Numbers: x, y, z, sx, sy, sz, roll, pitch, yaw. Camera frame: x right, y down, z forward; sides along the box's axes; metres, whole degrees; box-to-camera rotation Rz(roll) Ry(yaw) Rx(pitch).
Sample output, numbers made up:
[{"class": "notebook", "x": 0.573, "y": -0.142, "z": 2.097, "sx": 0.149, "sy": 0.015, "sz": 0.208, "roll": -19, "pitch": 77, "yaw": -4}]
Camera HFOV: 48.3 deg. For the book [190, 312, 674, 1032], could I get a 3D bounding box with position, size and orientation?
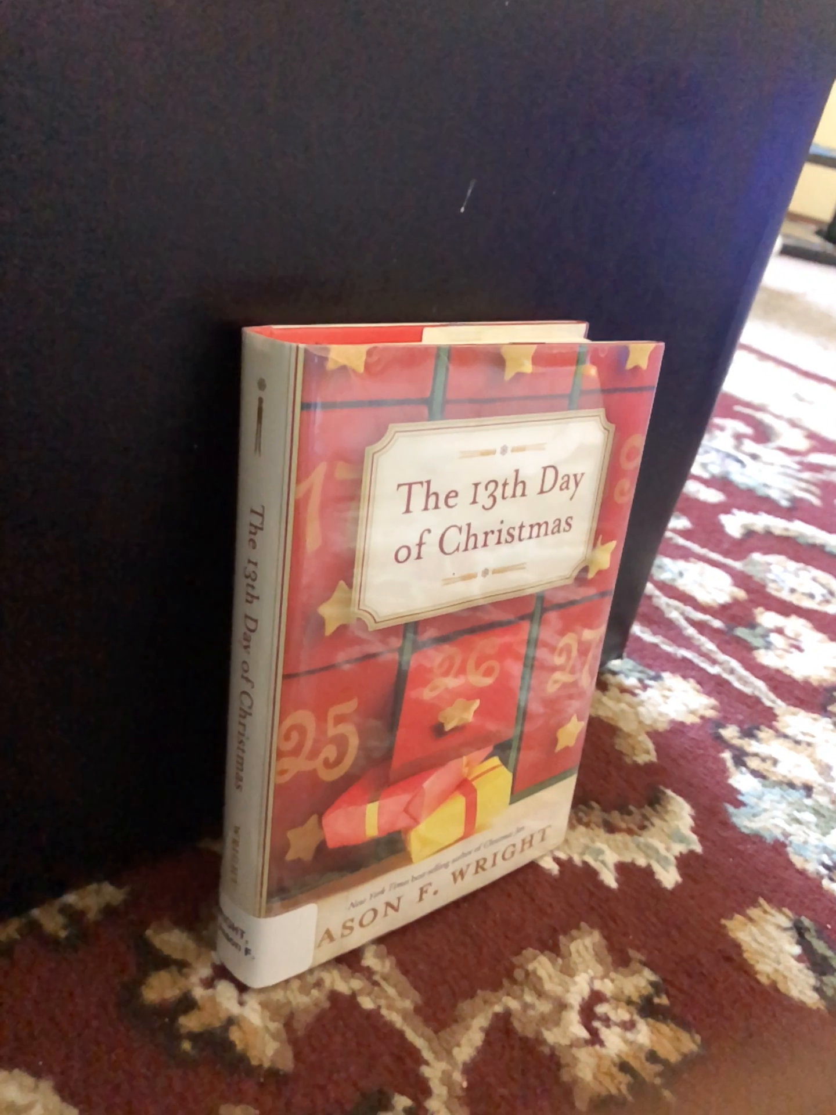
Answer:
[{"class": "book", "x": 0.004, "y": 0.026, "z": 0.286, "sx": 0.138, "sy": 0.190, "sz": 0.040, "roll": -13, "pitch": 28, "yaw": -42}]
